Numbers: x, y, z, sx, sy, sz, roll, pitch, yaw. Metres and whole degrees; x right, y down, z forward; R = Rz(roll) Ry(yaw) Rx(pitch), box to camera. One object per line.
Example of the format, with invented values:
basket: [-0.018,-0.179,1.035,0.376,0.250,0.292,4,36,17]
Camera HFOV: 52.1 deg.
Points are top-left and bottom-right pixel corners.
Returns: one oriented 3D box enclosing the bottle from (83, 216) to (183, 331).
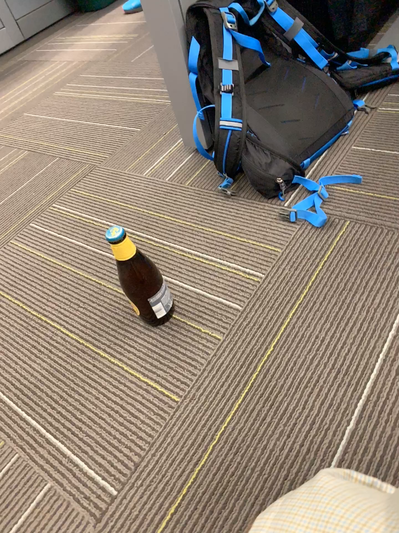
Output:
bottle: [-0.093,0.014,0.622,0.070,0.179,0.070,-10,45,10]
